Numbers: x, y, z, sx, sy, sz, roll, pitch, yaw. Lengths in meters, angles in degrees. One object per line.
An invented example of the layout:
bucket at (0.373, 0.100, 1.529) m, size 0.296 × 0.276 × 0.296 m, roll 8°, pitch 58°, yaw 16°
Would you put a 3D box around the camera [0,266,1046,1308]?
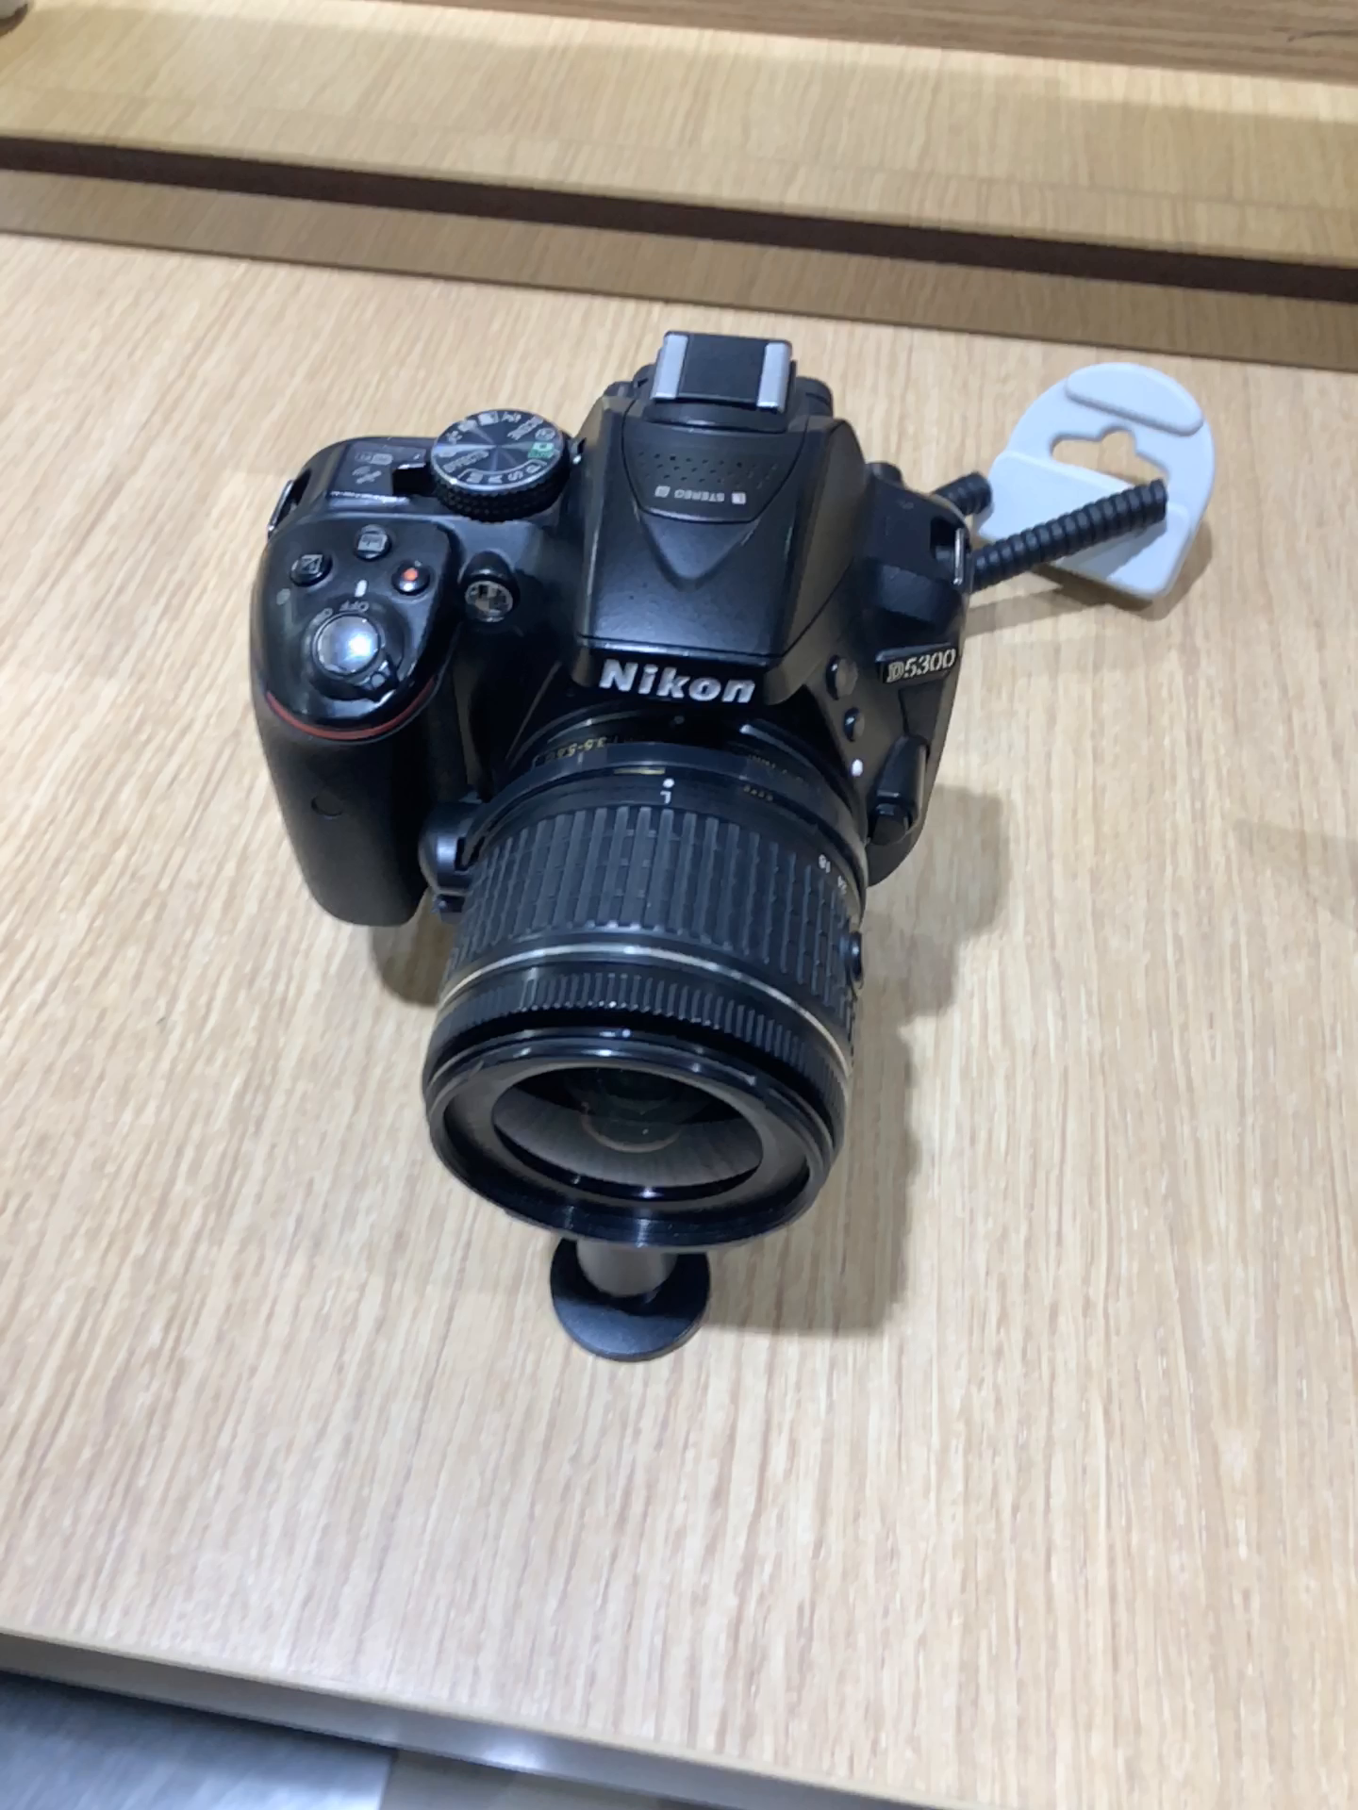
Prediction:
camera at (-0.015, -0.017, 0.234) m, size 0.120 × 0.102 × 0.111 m, roll 6°, pitch 52°, yaw 4°
